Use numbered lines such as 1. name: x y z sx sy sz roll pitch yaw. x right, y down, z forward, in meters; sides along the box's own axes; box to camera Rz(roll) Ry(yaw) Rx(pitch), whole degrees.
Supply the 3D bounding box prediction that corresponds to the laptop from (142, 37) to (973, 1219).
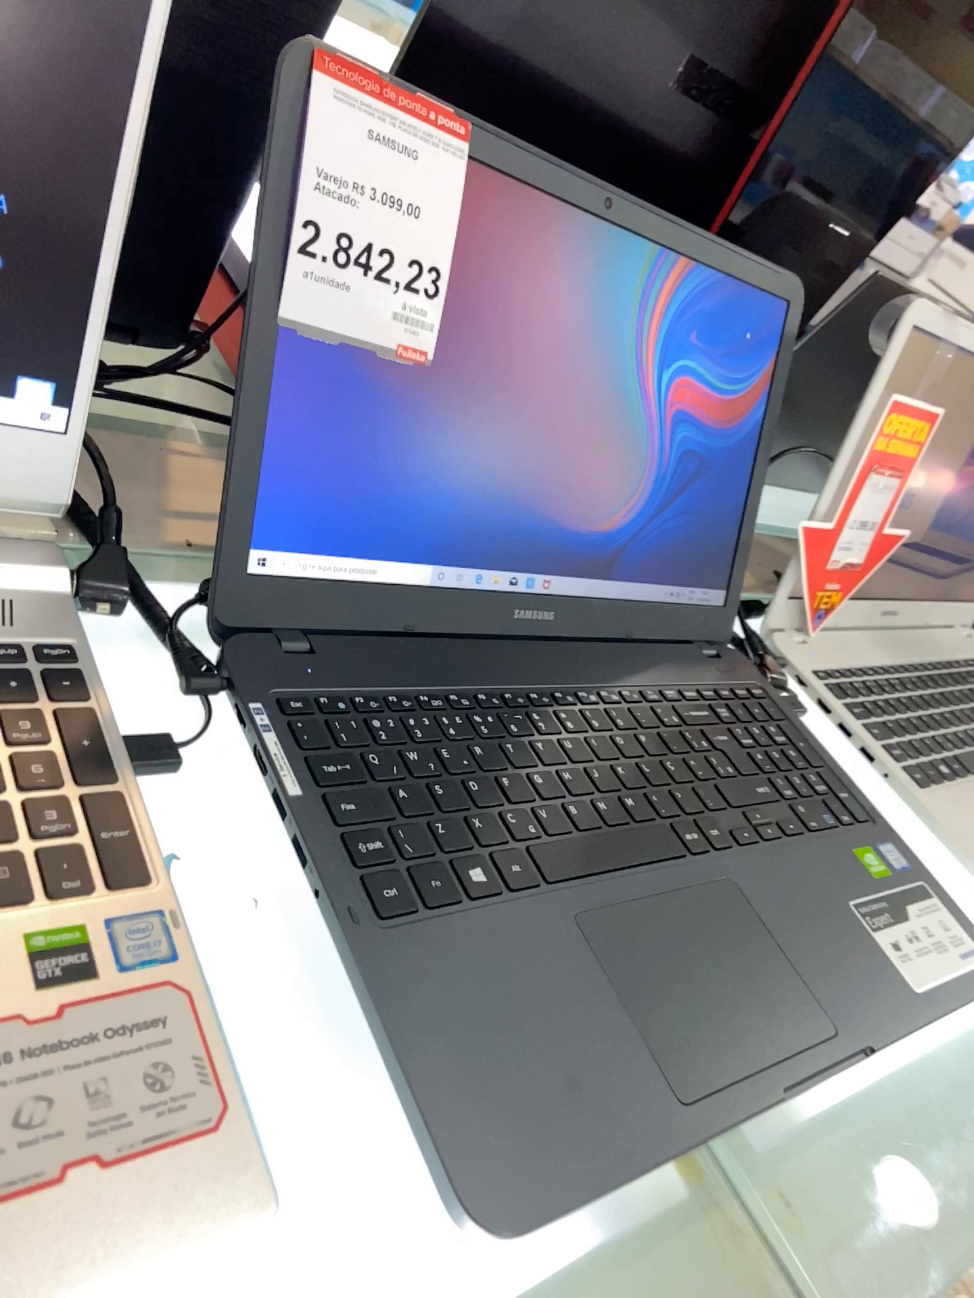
1. laptop: 0.098 -0.033 0.459 0.368 0.193 0.370 2 43 -41
